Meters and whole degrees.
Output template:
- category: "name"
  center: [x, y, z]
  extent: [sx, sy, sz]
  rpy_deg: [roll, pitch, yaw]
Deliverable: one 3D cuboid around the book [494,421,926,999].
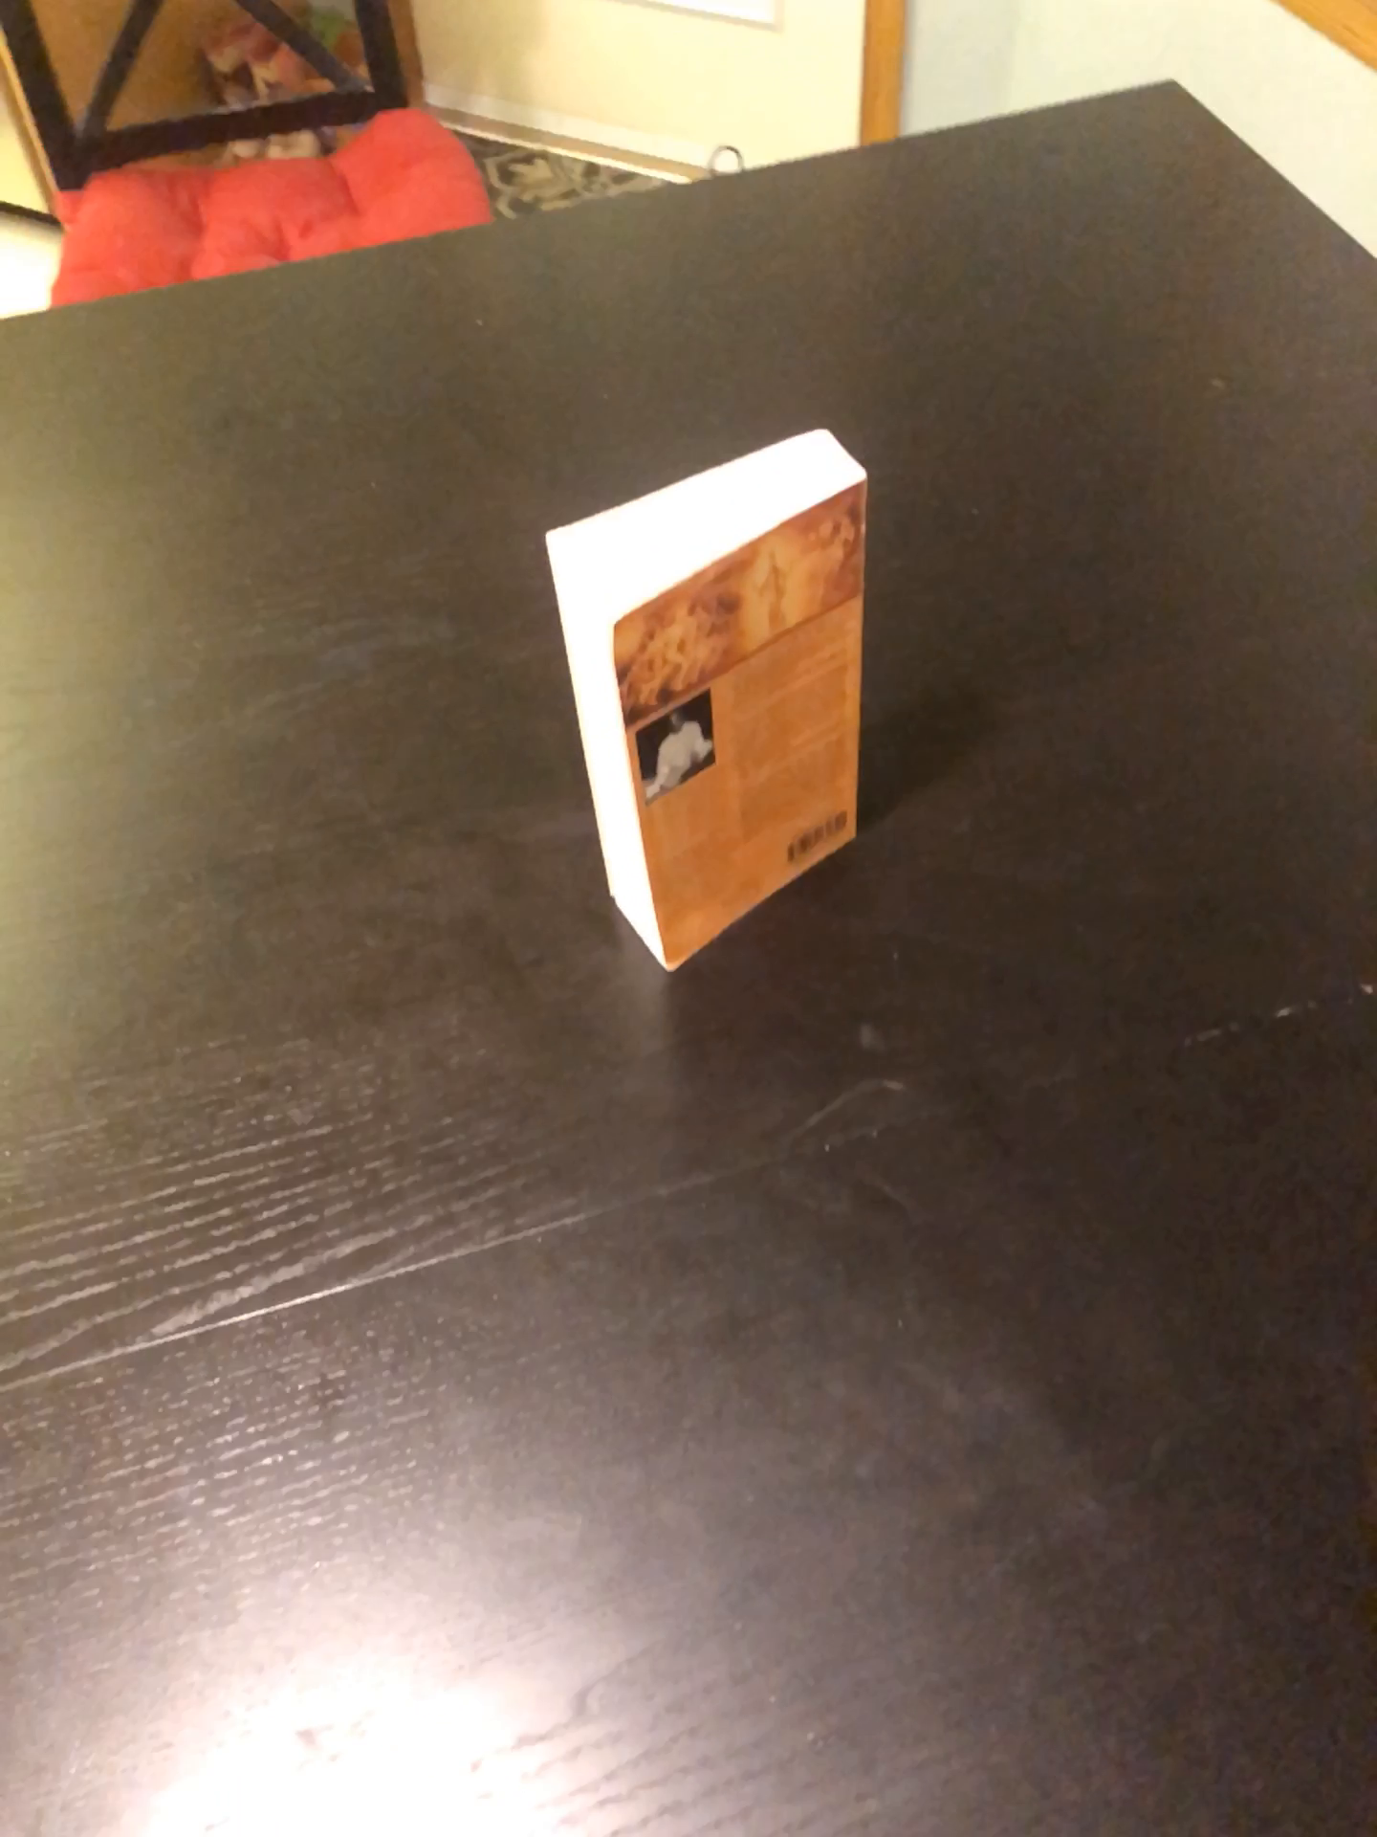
- category: "book"
  center: [0.013, -0.069, 0.552]
  extent: [0.126, 0.174, 0.059]
  rpy_deg: [-26, 53, -15]
